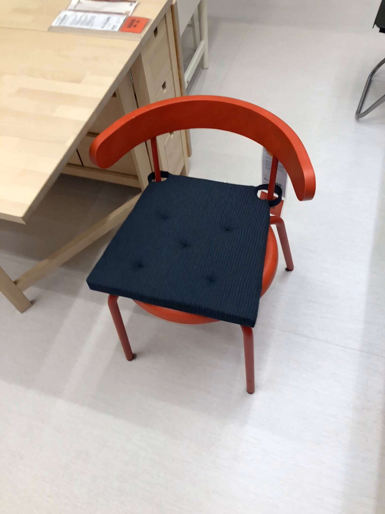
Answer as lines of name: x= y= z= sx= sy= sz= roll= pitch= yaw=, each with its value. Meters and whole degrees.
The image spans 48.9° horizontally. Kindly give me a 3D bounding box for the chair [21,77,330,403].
chair: x=0.017 y=-0.012 z=1.163 sx=0.520 sy=0.677 sz=0.502 roll=12 pitch=58 yaw=13
